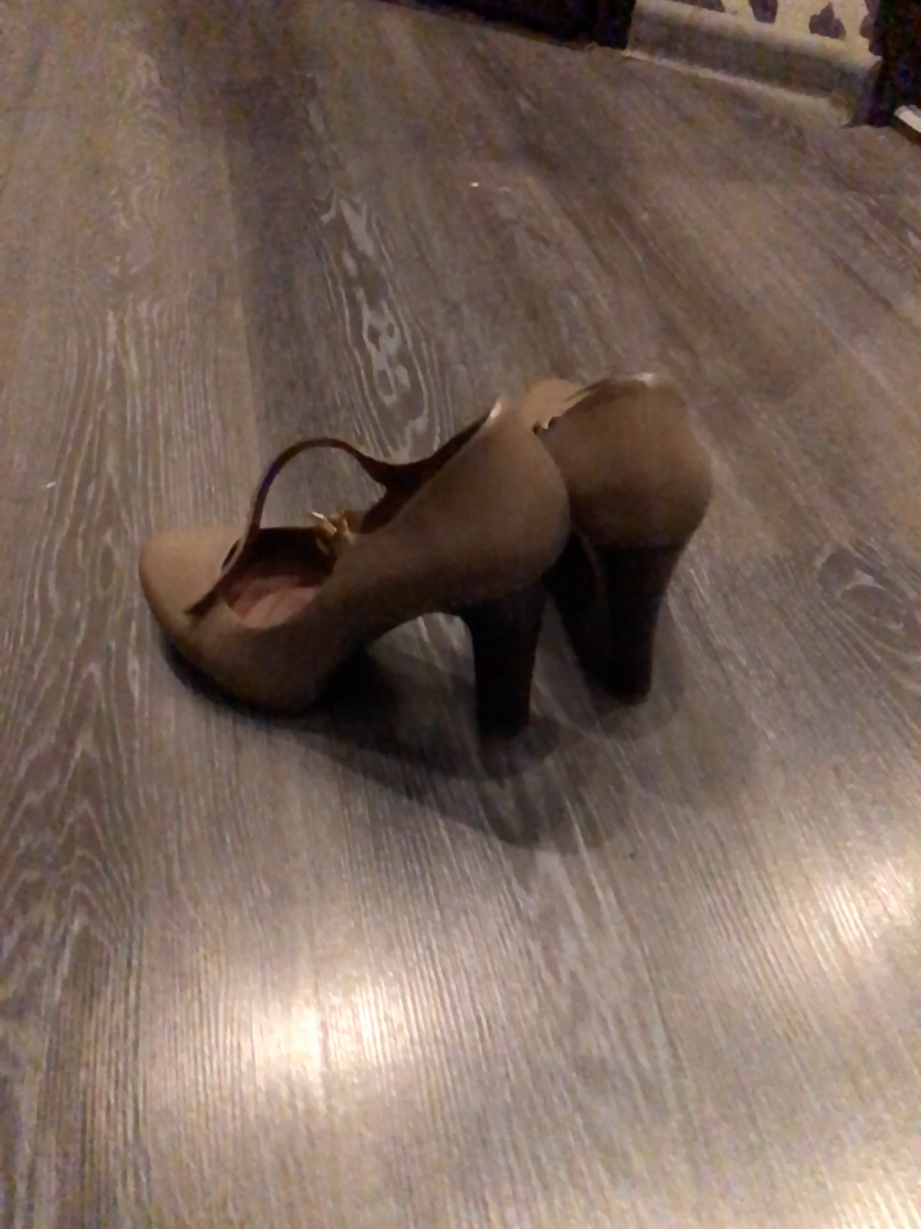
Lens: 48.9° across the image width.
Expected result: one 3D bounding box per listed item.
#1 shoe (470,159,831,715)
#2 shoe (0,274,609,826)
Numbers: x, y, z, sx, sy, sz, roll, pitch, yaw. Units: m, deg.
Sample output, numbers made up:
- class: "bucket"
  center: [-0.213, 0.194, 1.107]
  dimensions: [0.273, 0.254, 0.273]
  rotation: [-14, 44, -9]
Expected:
- class: "shoe"
  center: [0.068, -0.088, 0.467]
  dimensions: [0.090, 0.149, 0.211]
  rotation: [-8, 46, -5]
- class: "shoe"
  center: [-0.060, -0.029, 0.412]
  dimensions: [0.210, 0.149, 0.090]
  rotation: [19, 49, 20]
